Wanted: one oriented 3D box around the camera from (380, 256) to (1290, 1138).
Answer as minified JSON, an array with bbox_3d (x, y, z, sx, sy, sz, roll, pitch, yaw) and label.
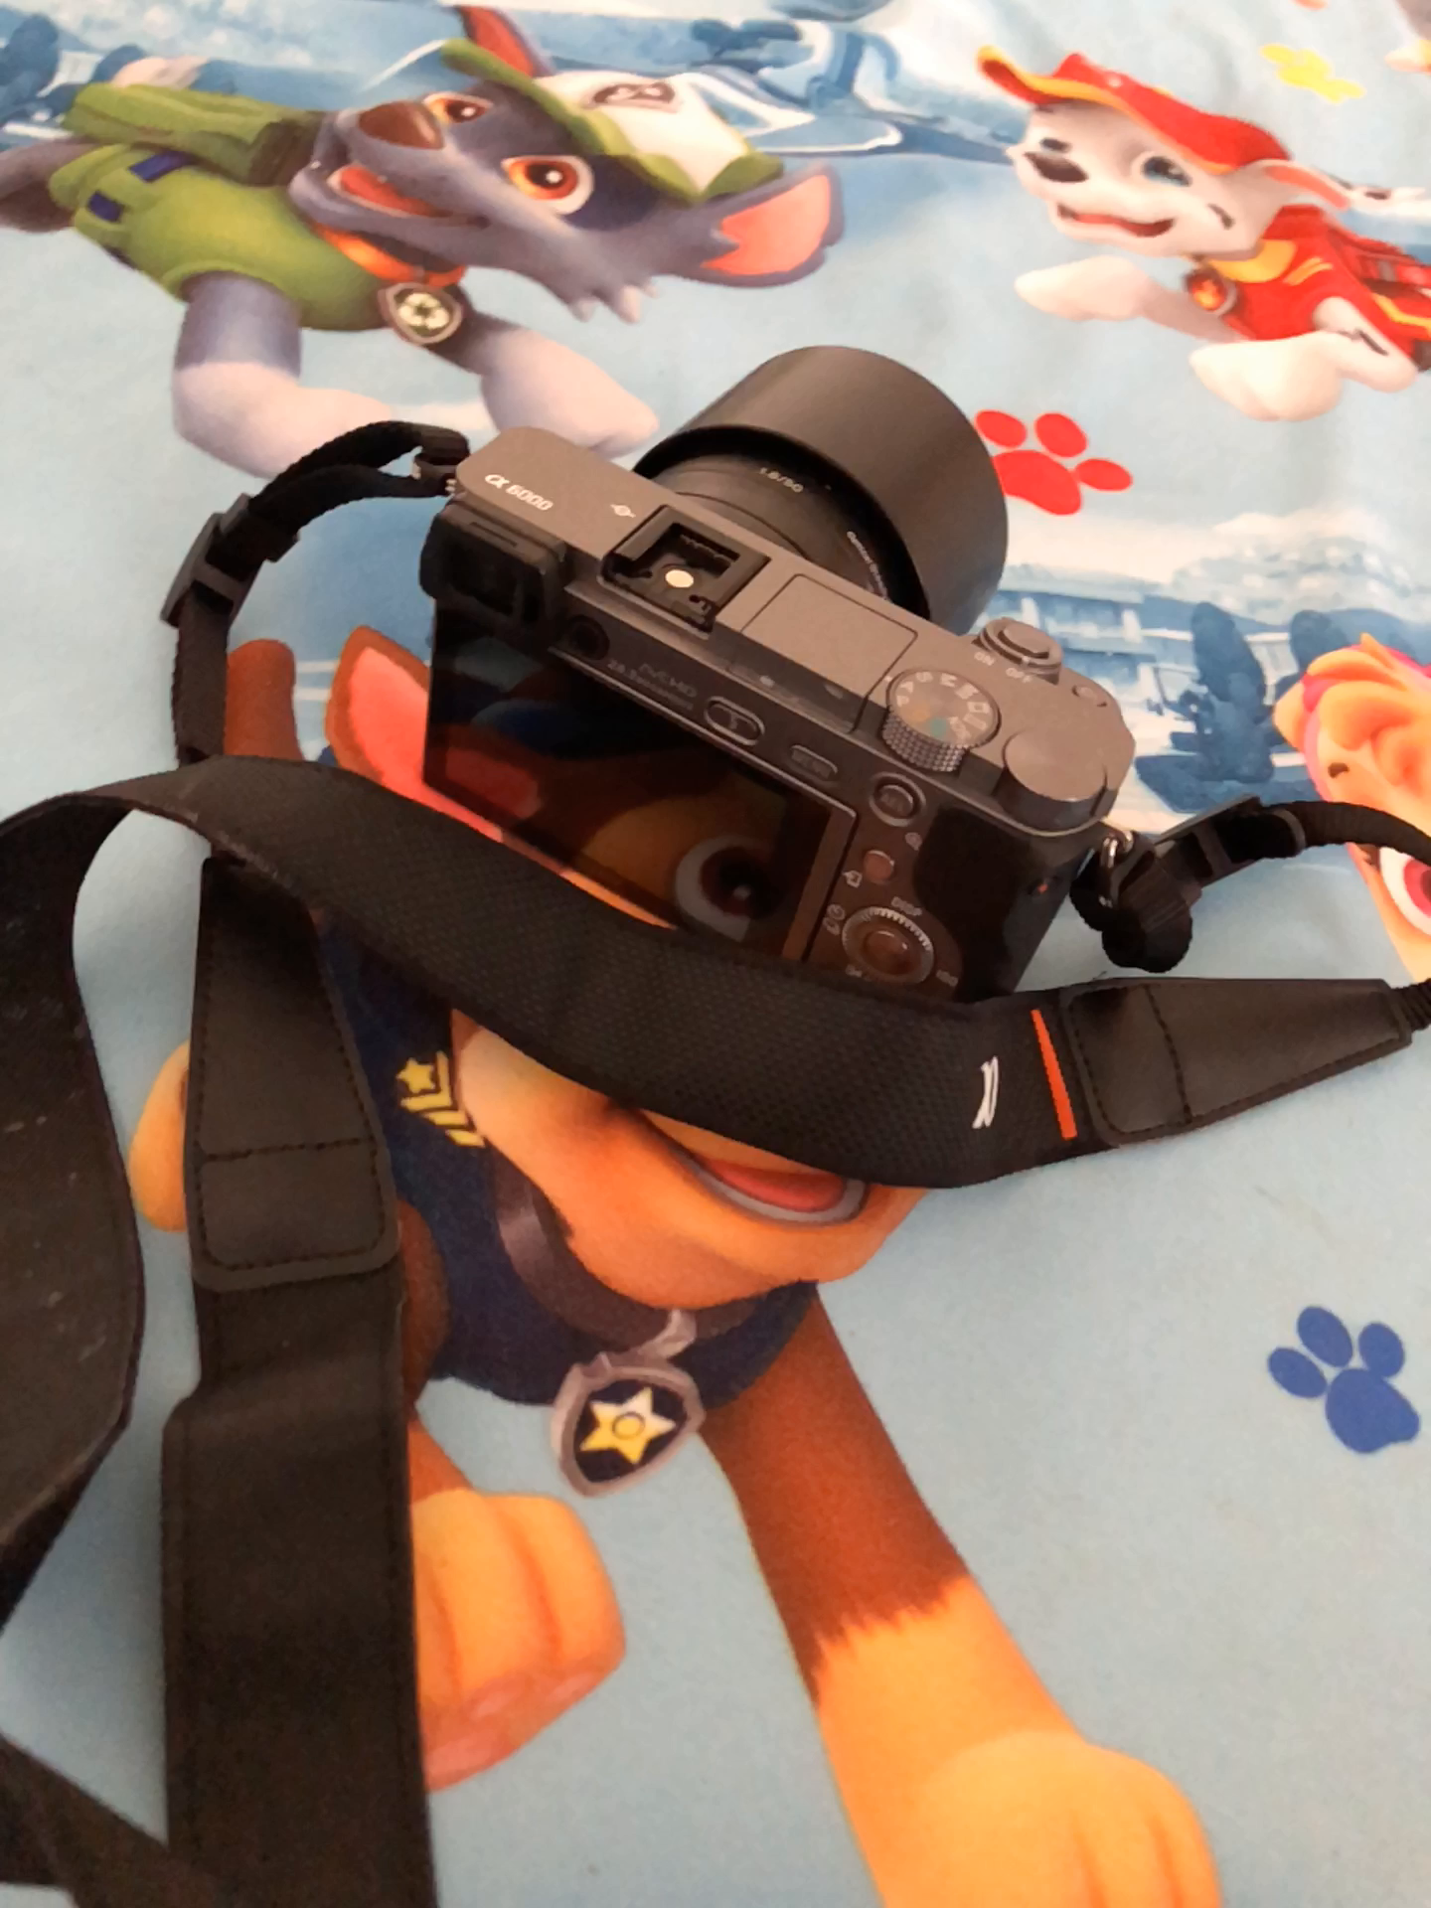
[{"bbox_3d":[0.022,-0.056,0.315,0.130,0.080,0.110,30,50,10],"label":"camera"}]
